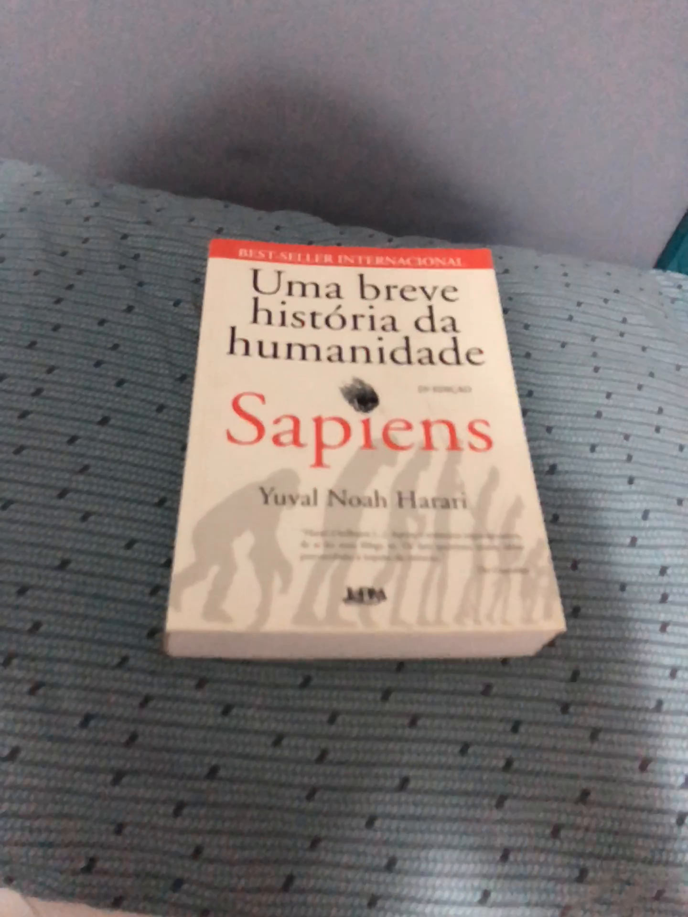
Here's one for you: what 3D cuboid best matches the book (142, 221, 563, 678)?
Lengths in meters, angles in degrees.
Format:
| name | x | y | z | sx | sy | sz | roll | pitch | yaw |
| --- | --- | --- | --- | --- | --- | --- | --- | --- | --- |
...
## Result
| name | x | y | z | sx | sy | sz | roll | pitch | yaw |
| --- | --- | --- | --- | --- | --- | --- | --- | --- | --- |
| book | 0.000 | -0.018 | 0.372 | 0.160 | 0.040 | 0.241 | 2 | 55 | -6 |
